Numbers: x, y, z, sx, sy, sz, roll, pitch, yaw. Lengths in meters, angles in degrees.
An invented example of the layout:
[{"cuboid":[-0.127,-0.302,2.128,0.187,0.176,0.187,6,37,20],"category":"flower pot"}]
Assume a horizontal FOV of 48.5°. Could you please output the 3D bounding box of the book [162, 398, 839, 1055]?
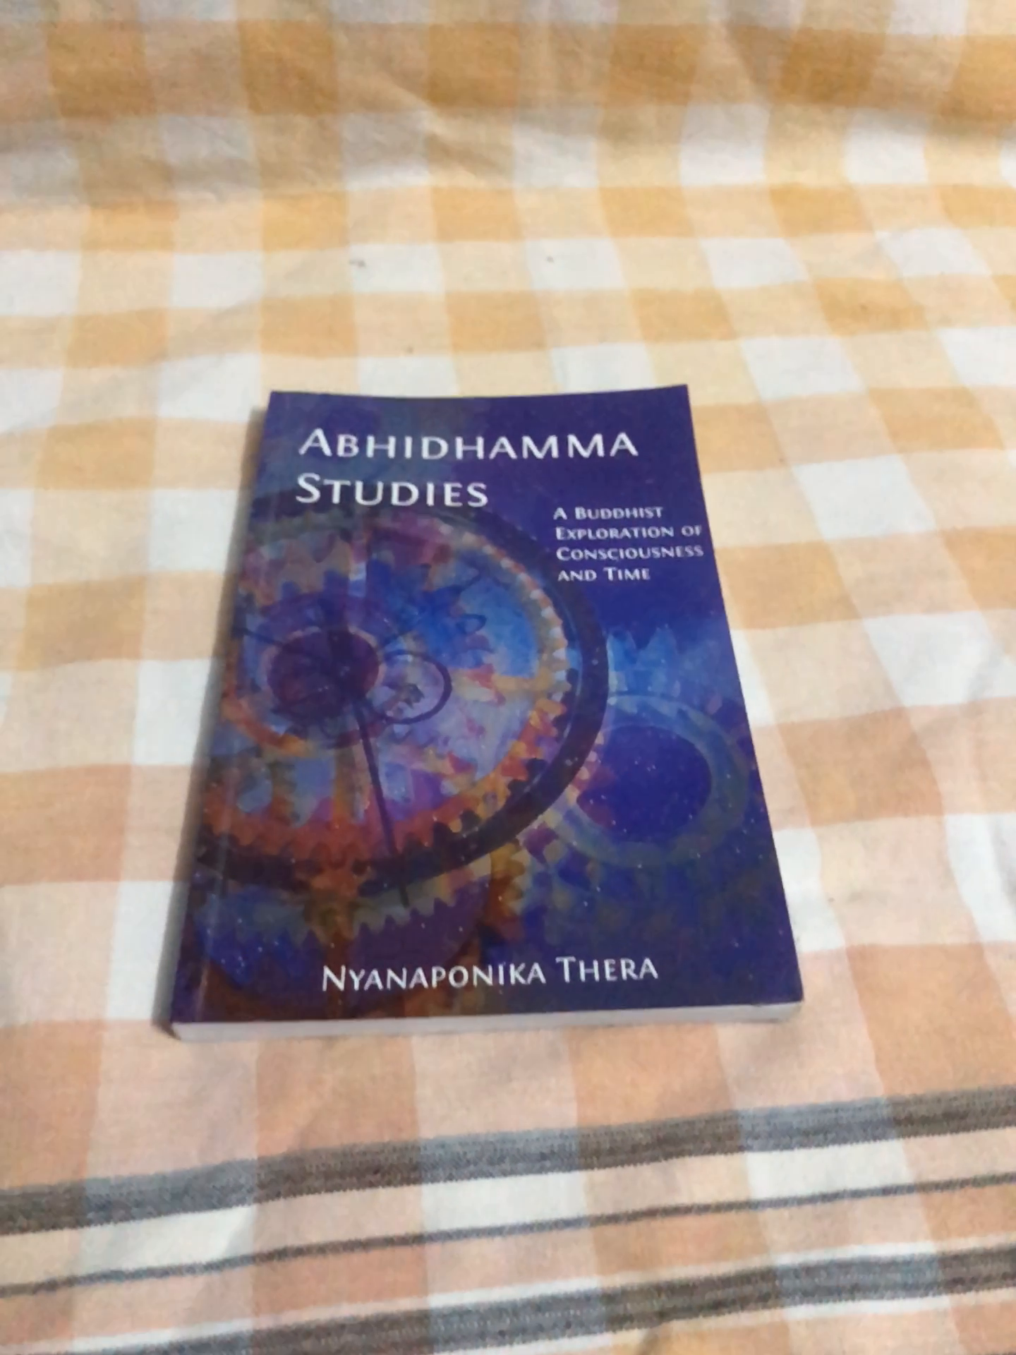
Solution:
[{"cuboid":[-0.004,-0.002,0.322,0.150,0.020,0.211,0,53,-3],"category":"book"}]
